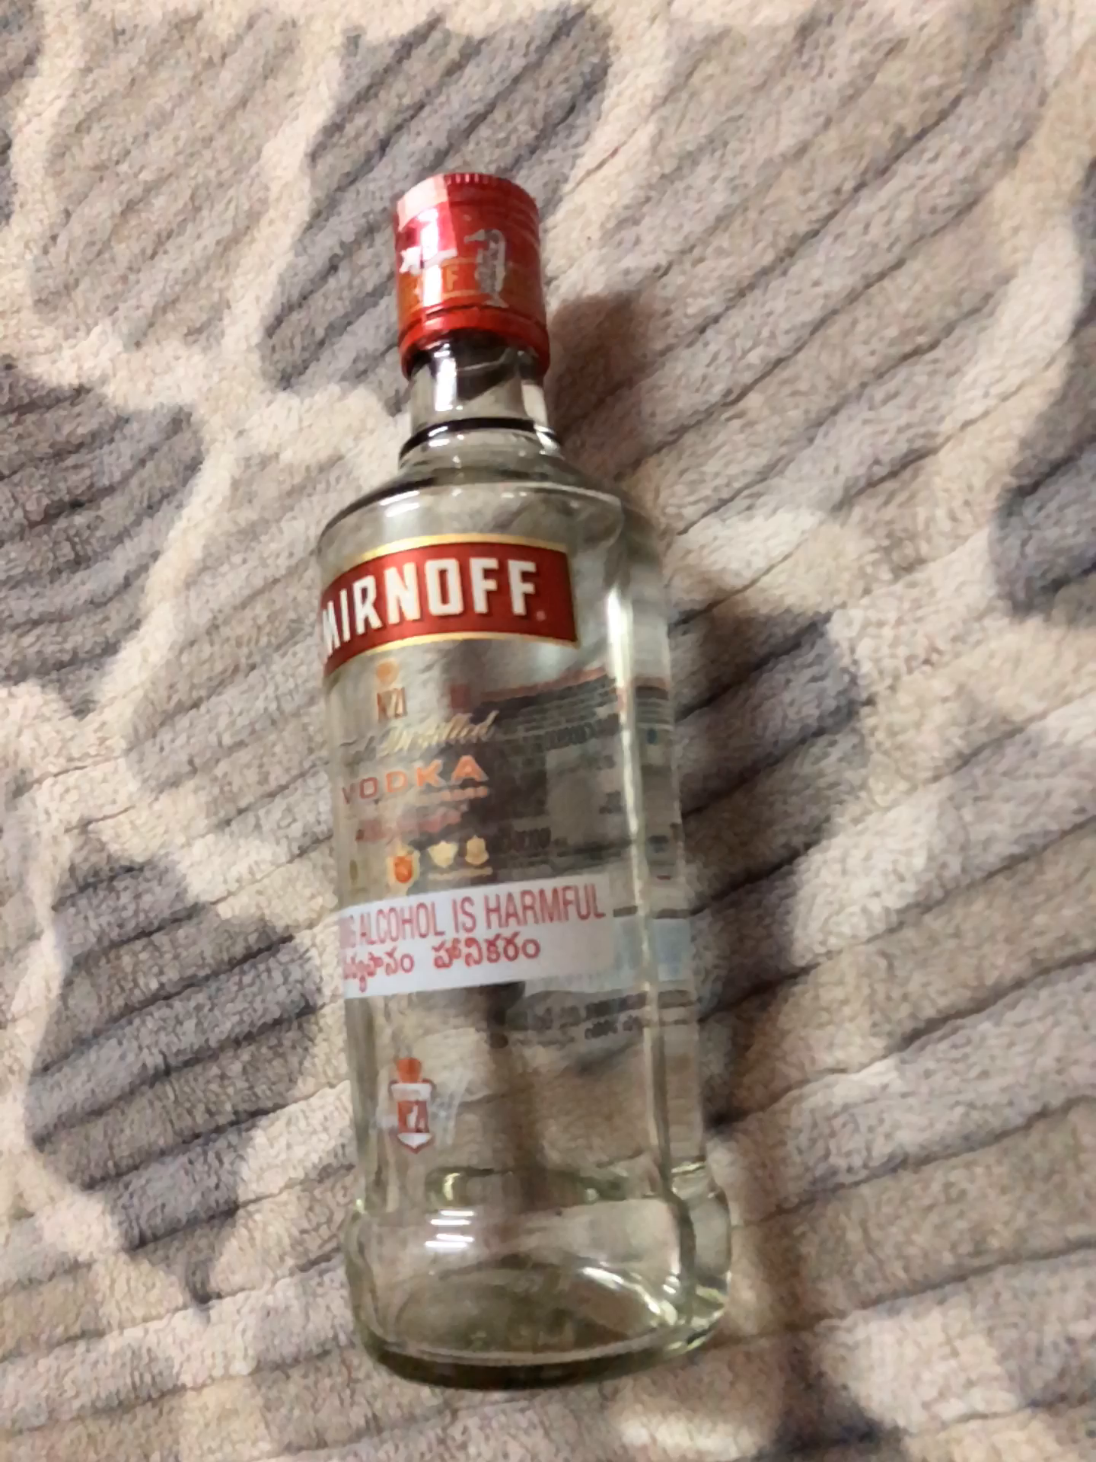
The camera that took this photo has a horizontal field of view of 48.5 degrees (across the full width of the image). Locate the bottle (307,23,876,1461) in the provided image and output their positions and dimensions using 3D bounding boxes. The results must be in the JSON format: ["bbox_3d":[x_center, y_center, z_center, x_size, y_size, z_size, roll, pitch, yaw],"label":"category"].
[{"bbox_3d":[0.004,-0.001,0.230,0.070,0.060,0.230,-11,76,30],"label":"bottle"}]
